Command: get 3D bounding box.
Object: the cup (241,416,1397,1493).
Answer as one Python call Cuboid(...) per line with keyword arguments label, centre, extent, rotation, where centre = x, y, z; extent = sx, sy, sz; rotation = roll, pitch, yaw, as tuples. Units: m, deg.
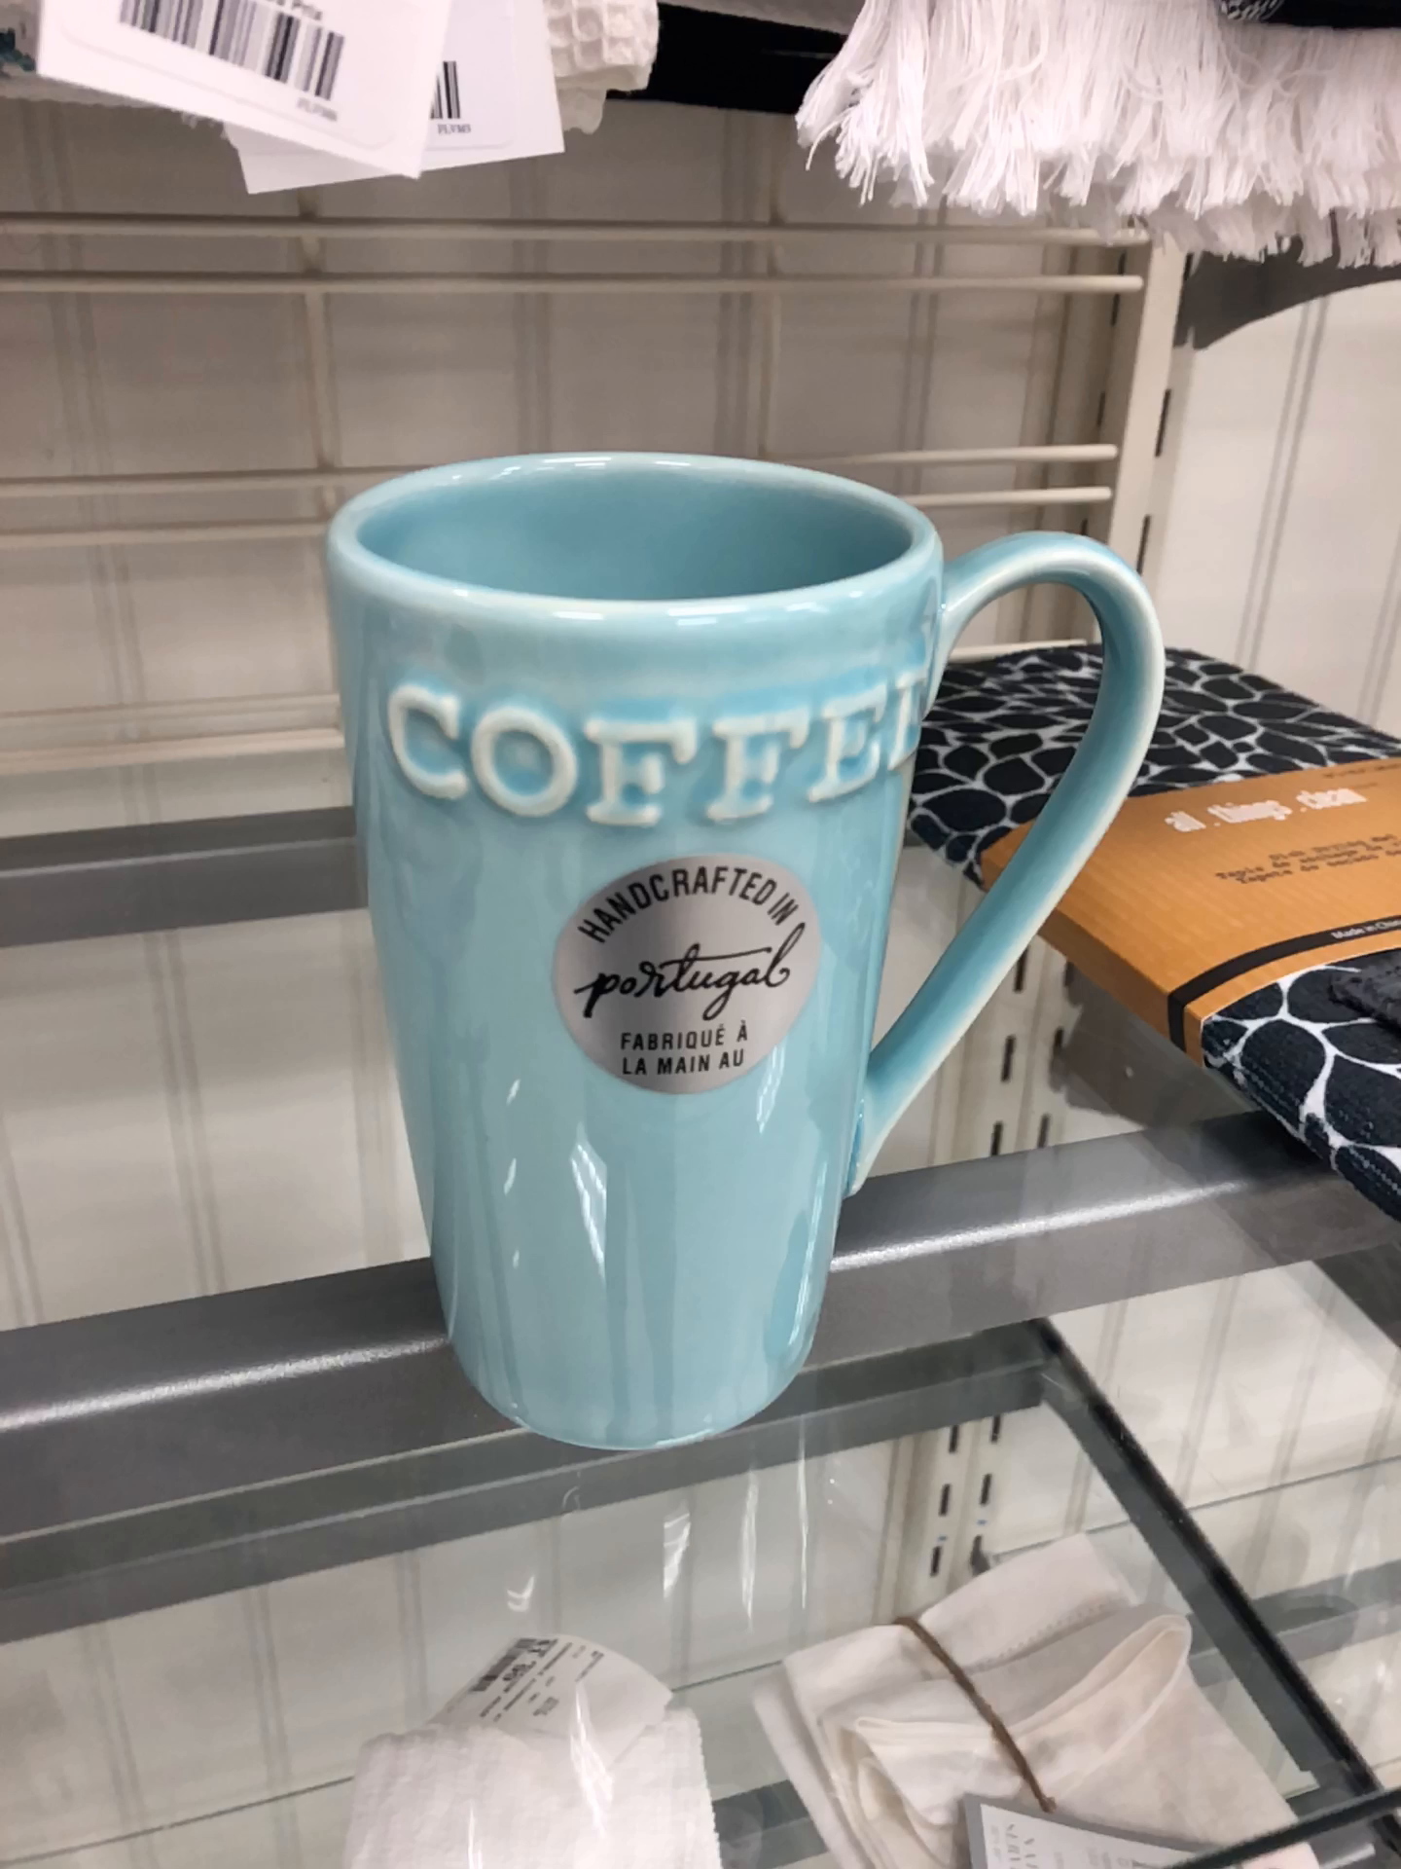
Cuboid(label="cup", centre=(0.010, 0.000, 0.245), extent=(0.130, 0.139, 0.091), rotation=(0, 28, -5))
